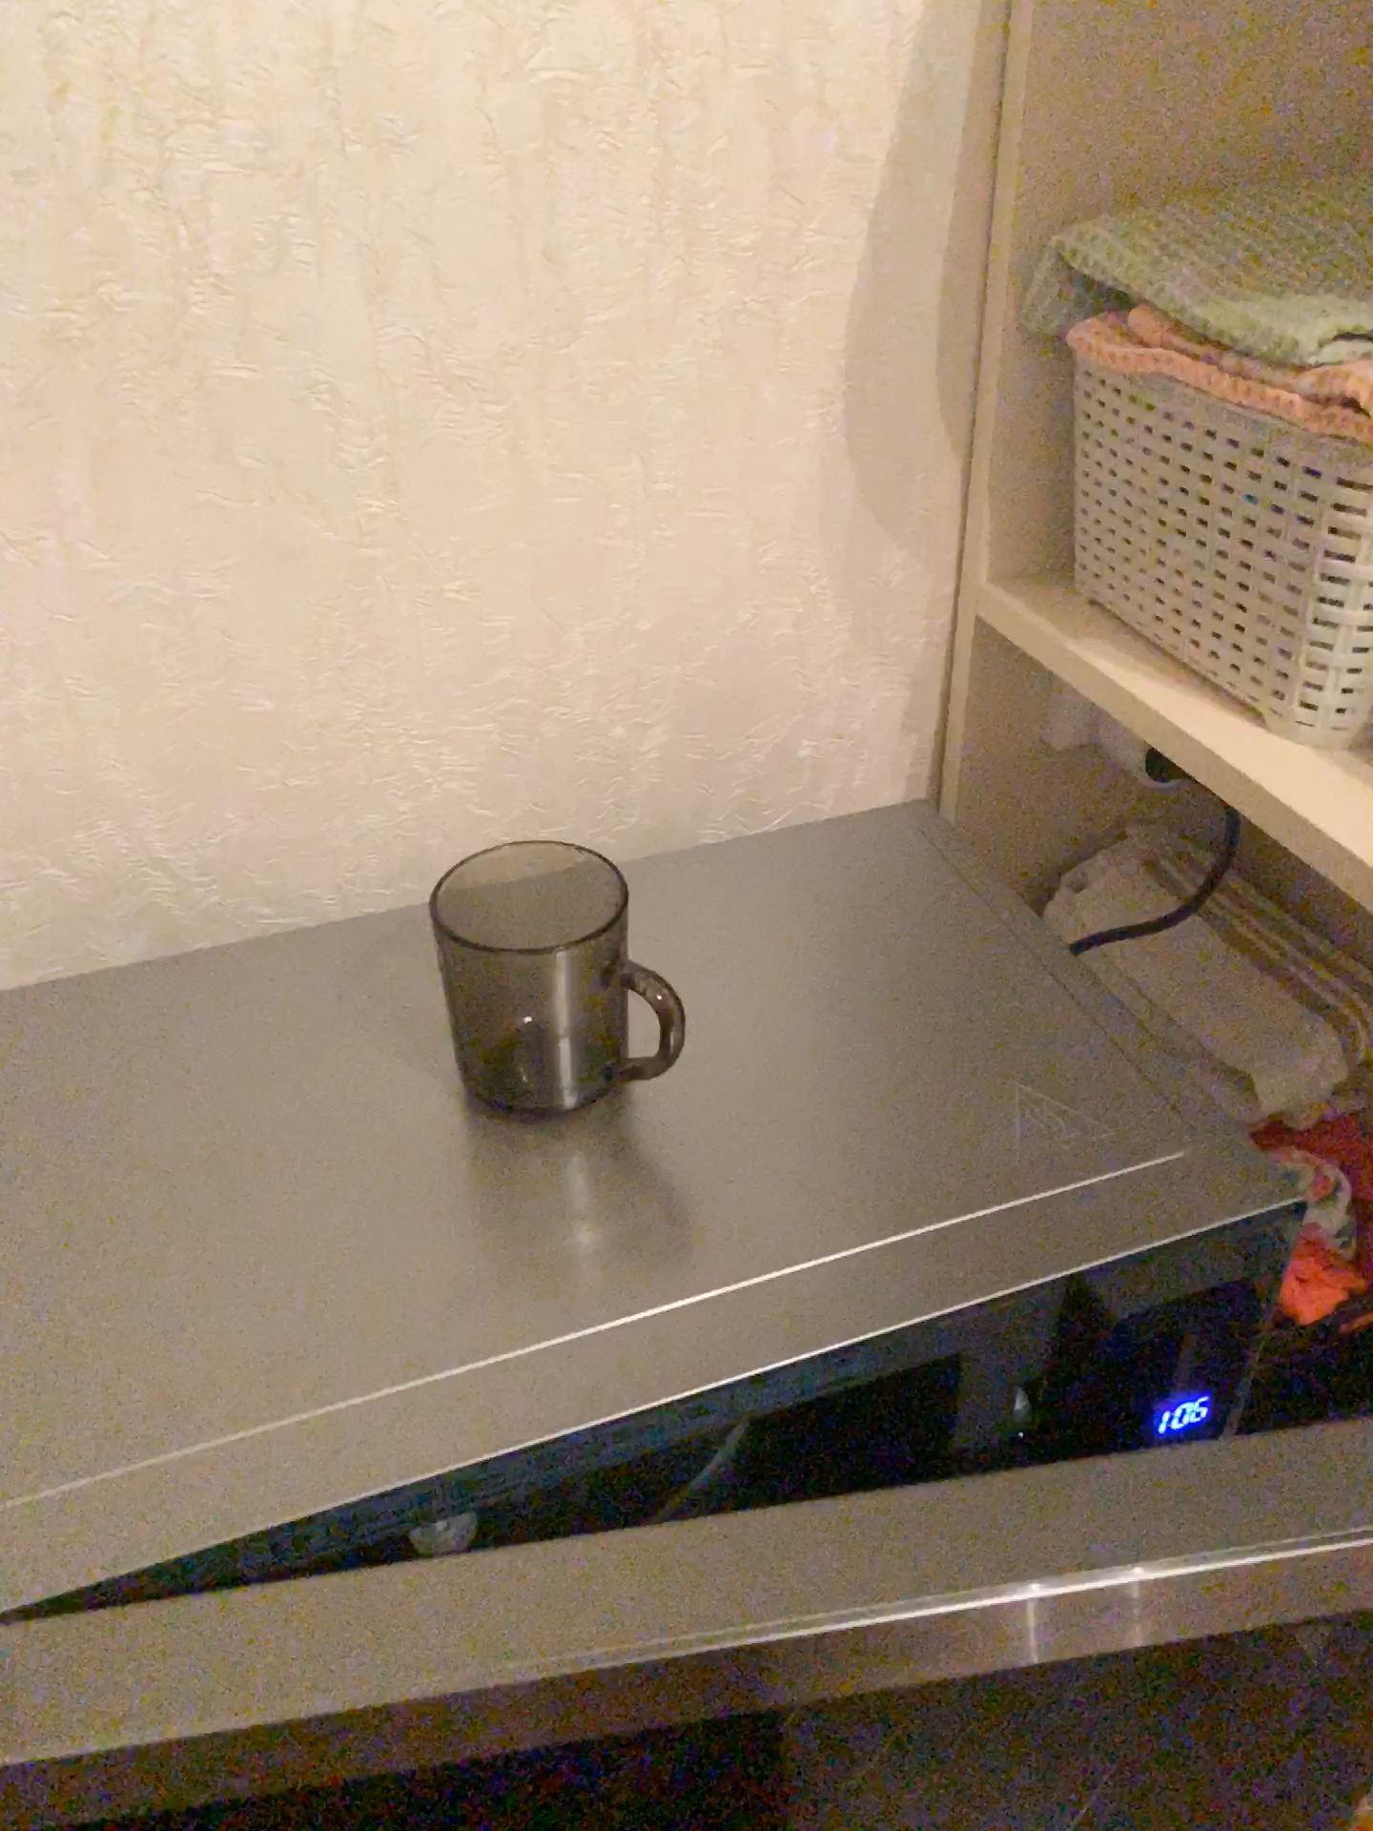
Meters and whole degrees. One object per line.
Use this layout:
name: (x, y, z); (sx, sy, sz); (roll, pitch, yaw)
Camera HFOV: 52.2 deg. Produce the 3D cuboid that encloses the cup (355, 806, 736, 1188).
cup: (-0.050, 0.026, 0.524); (0.110, 0.079, 0.080); (22, 41, 30)
